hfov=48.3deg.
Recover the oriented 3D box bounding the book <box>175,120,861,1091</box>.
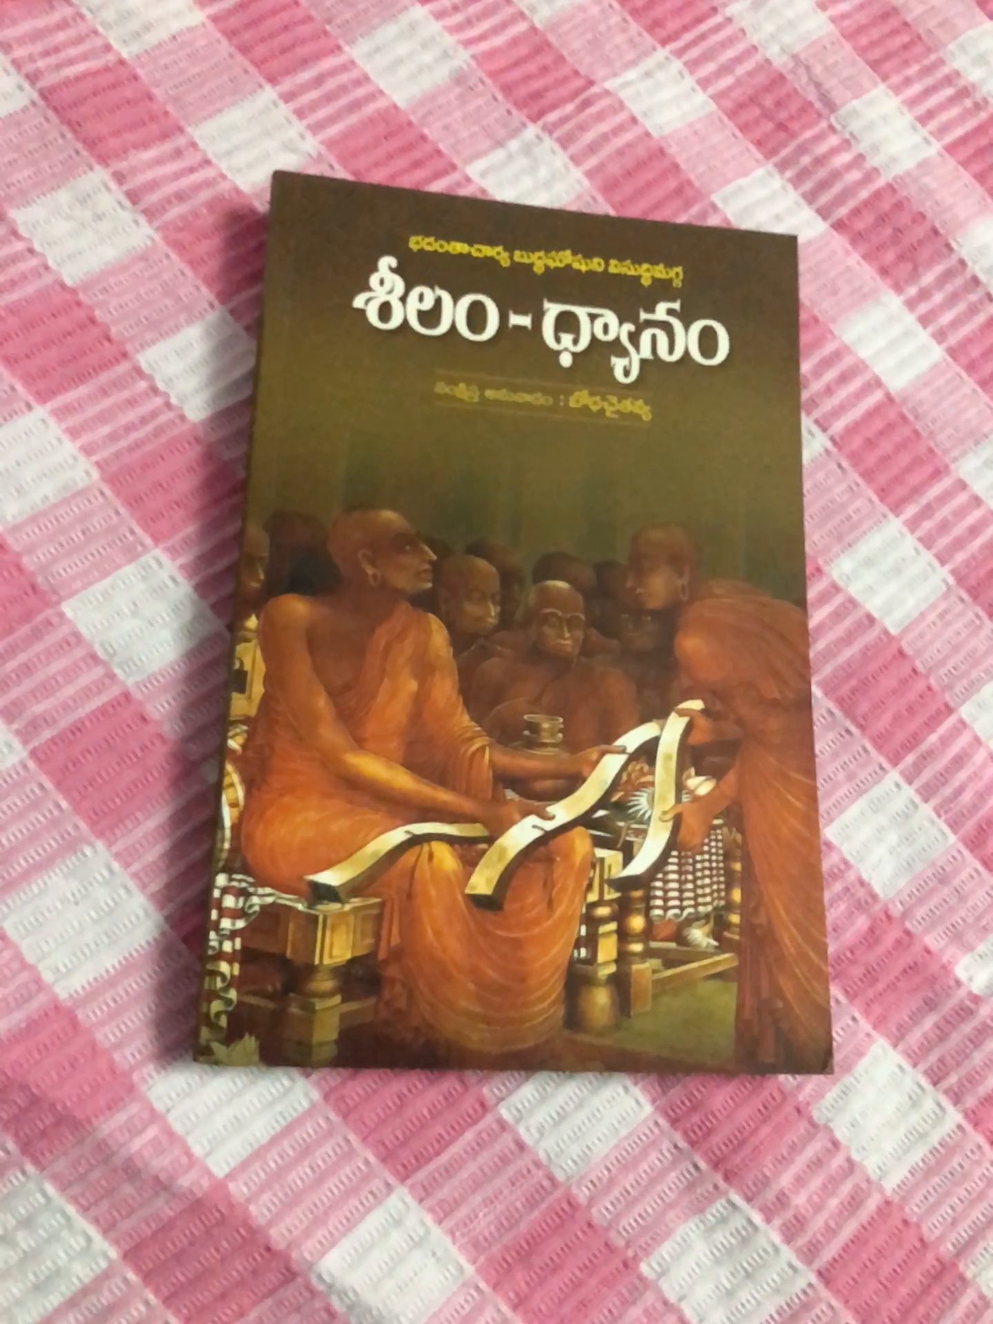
[{"bbox_3d":[0.011,-0.015,0.254,0.140,0.020,0.210,5,77,-10],"label":"book"}]
